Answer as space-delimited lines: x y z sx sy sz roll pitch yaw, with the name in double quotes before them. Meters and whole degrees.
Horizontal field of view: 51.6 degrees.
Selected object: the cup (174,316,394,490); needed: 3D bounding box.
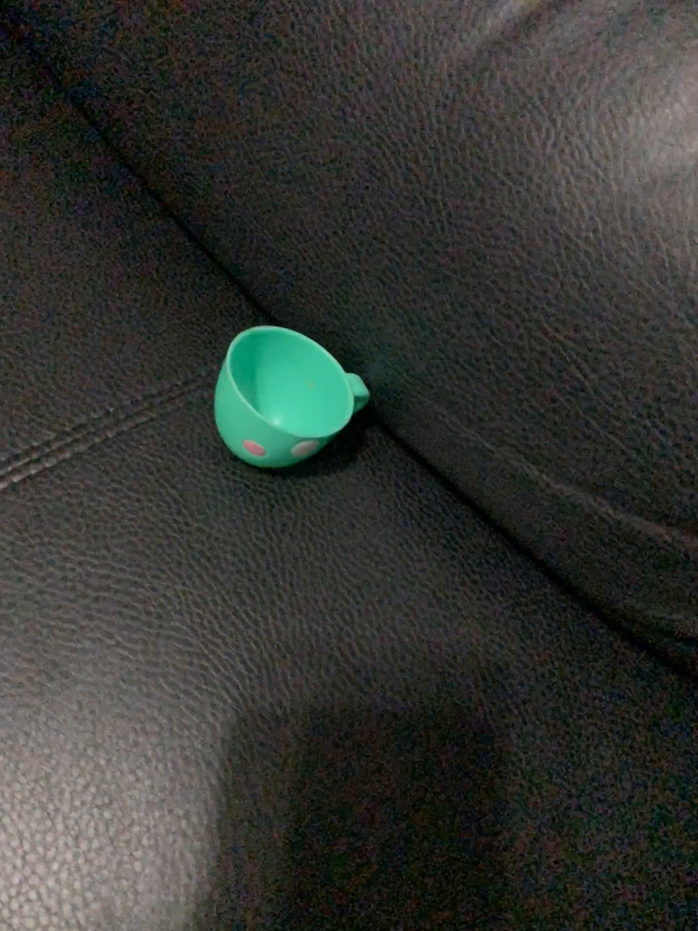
"cup" -0.025 -0.022 0.267 0.063 0.030 0.054 0 53 -32
